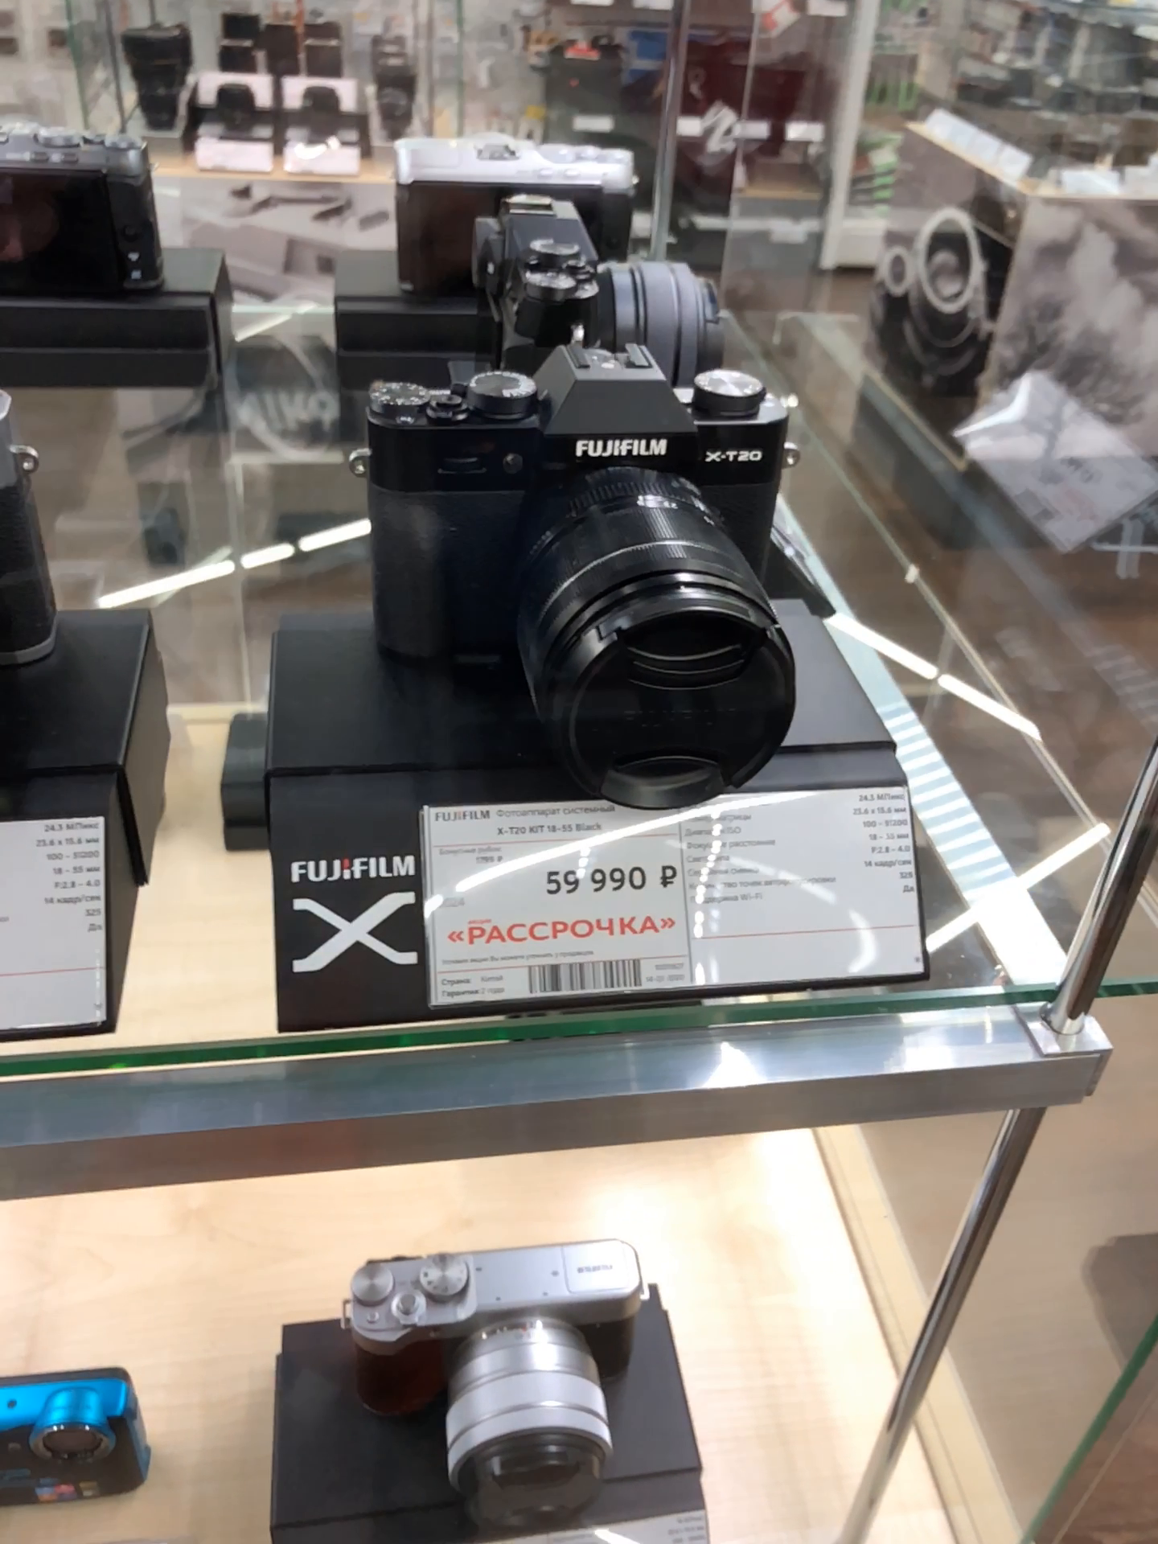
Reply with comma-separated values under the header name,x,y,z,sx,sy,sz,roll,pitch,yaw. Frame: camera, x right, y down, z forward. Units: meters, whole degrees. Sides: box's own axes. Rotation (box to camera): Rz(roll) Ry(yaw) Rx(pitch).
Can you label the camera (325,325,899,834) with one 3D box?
name,x,y,z,sx,sy,sz,roll,pitch,yaw
camera,-0.003,-0.057,0.340,0.121,0.081,0.122,-3,37,-10
